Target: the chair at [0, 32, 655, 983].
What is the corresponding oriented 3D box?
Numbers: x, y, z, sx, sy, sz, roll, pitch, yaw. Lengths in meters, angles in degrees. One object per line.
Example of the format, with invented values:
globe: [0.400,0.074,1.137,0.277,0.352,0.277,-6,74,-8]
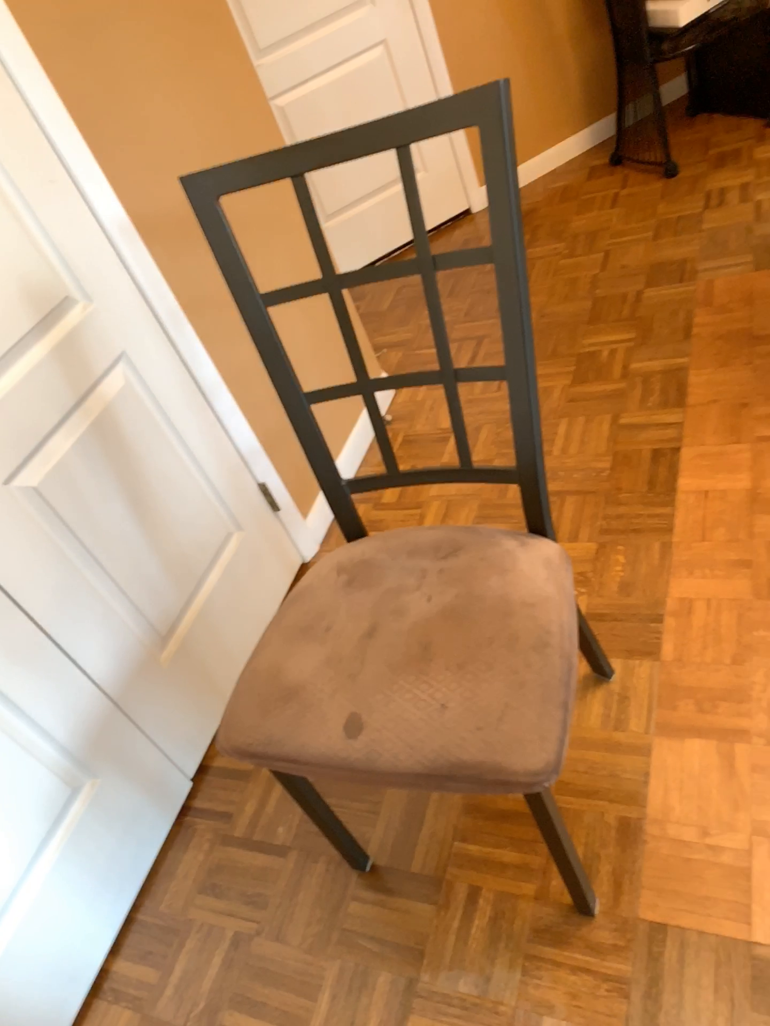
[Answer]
chair: [0.014,0.047,1.054,0.511,0.984,0.622,-3,40,27]
